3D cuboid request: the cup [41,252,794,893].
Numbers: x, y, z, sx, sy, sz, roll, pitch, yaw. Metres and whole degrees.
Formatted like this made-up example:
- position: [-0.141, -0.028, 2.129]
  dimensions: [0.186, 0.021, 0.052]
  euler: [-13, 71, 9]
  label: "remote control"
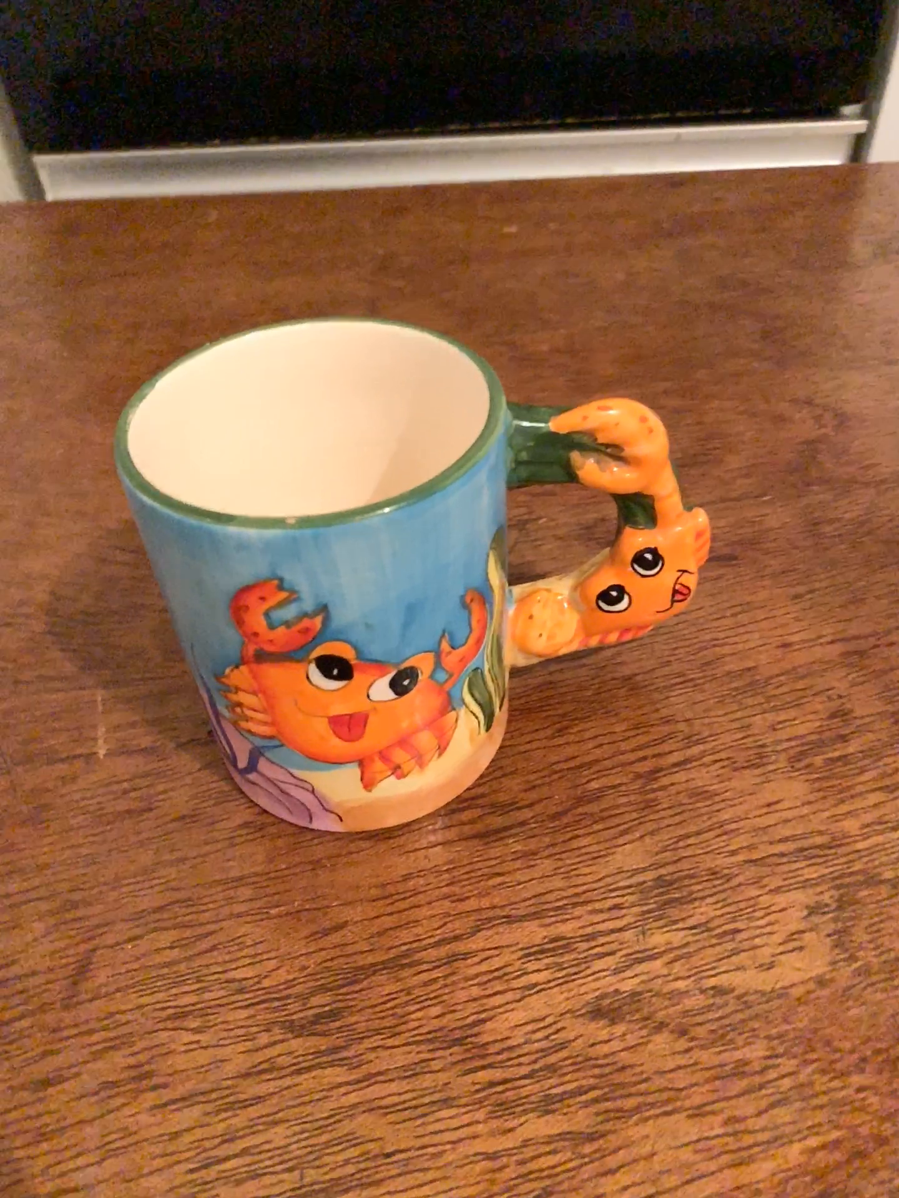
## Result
- position: [-0.008, -0.008, 0.220]
  dimensions: [0.130, 0.099, 0.080]
  euler: [-12, 43, -8]
  label: "cup"
